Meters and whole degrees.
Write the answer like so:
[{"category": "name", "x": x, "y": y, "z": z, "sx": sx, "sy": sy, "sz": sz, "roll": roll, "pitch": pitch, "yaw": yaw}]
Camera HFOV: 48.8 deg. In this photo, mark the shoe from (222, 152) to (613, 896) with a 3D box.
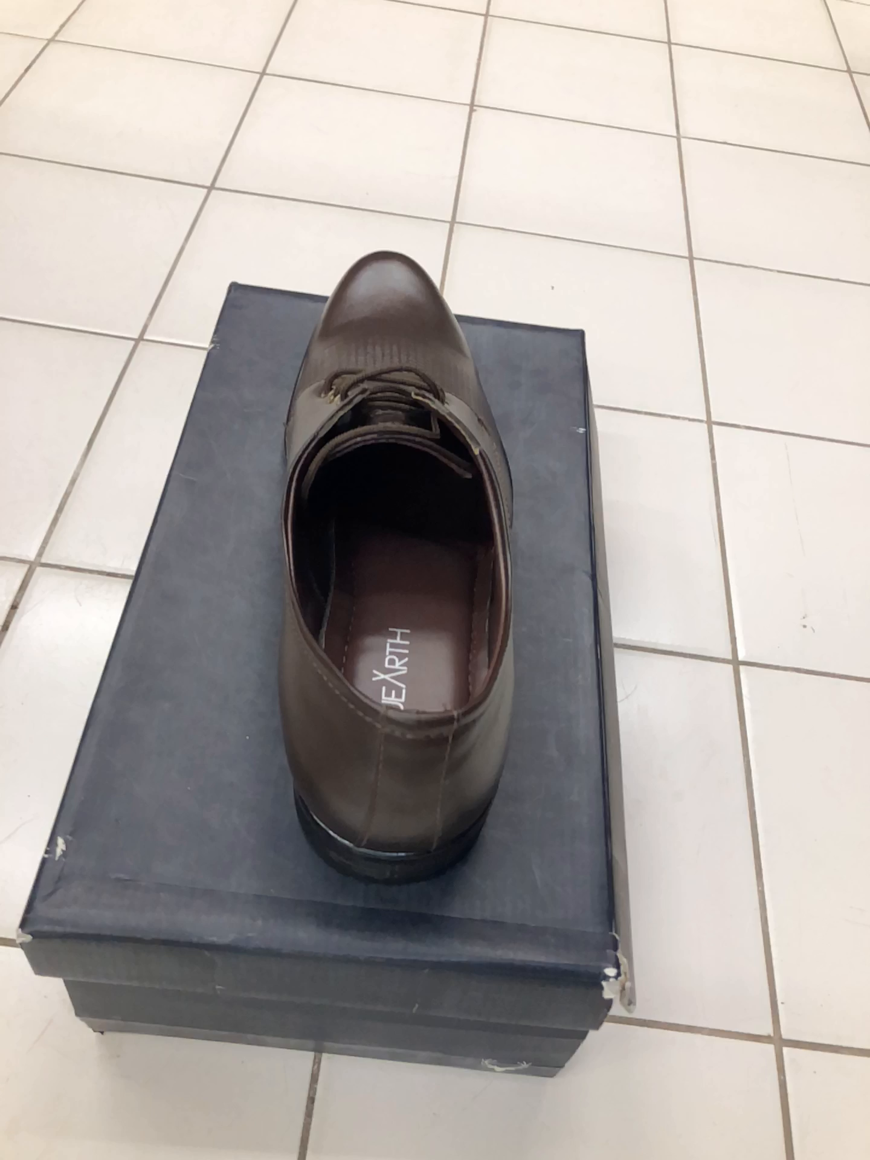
[{"category": "shoe", "x": -0.015, "y": -0.037, "z": 0.384, "sx": 0.104, "sy": 0.109, "sz": 0.291, "roll": 2, "pitch": 53, "yaw": -7}]
